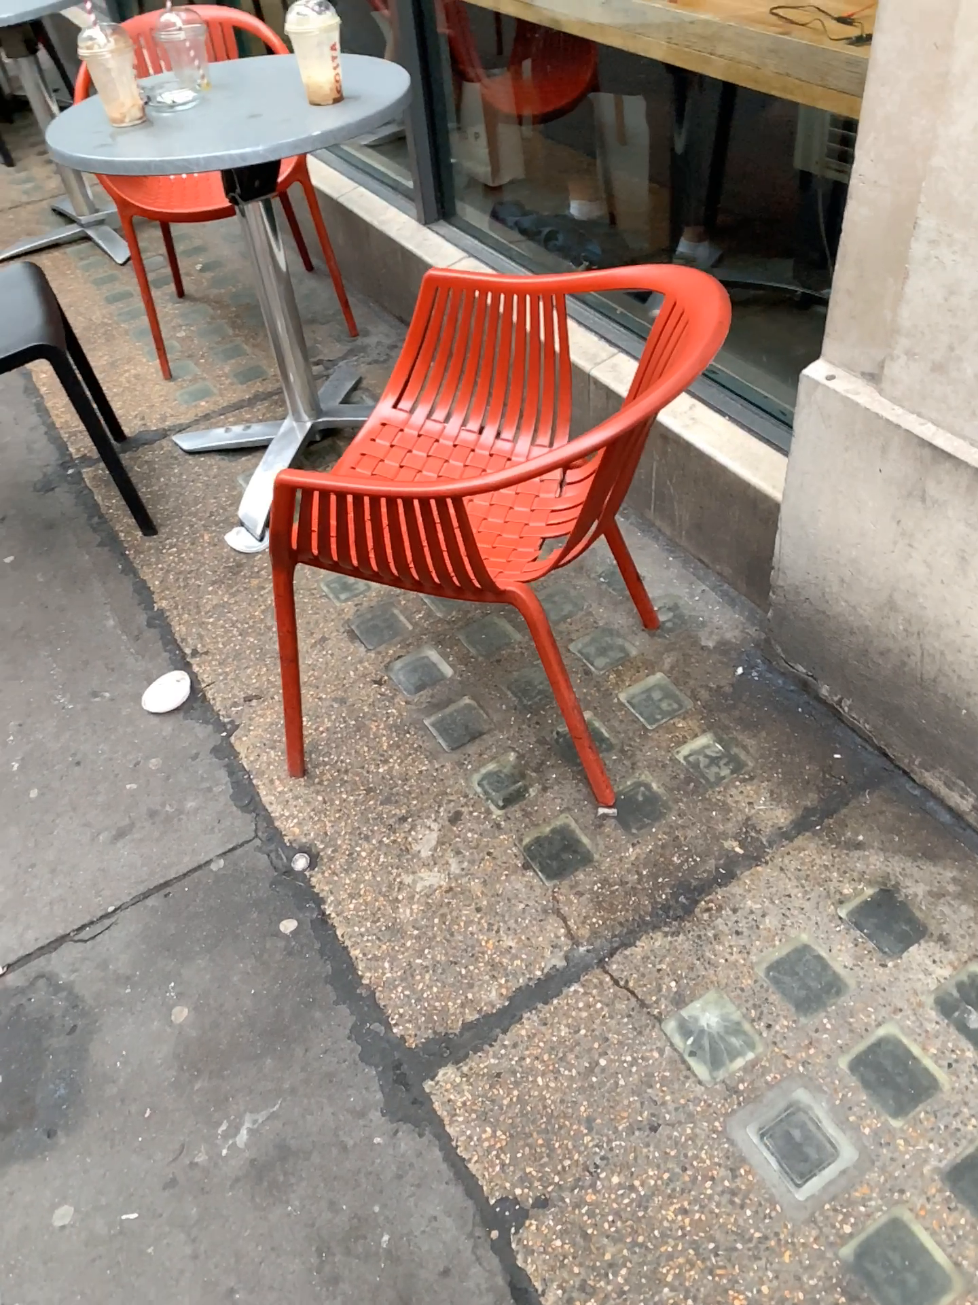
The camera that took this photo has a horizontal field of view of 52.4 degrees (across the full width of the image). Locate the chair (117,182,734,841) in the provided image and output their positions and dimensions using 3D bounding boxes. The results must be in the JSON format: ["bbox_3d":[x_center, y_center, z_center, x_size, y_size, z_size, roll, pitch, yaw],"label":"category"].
[{"bbox_3d":[-0.013,-0.220,1.465,0.611,0.693,0.585,8,46,15],"label":"chair"}]
